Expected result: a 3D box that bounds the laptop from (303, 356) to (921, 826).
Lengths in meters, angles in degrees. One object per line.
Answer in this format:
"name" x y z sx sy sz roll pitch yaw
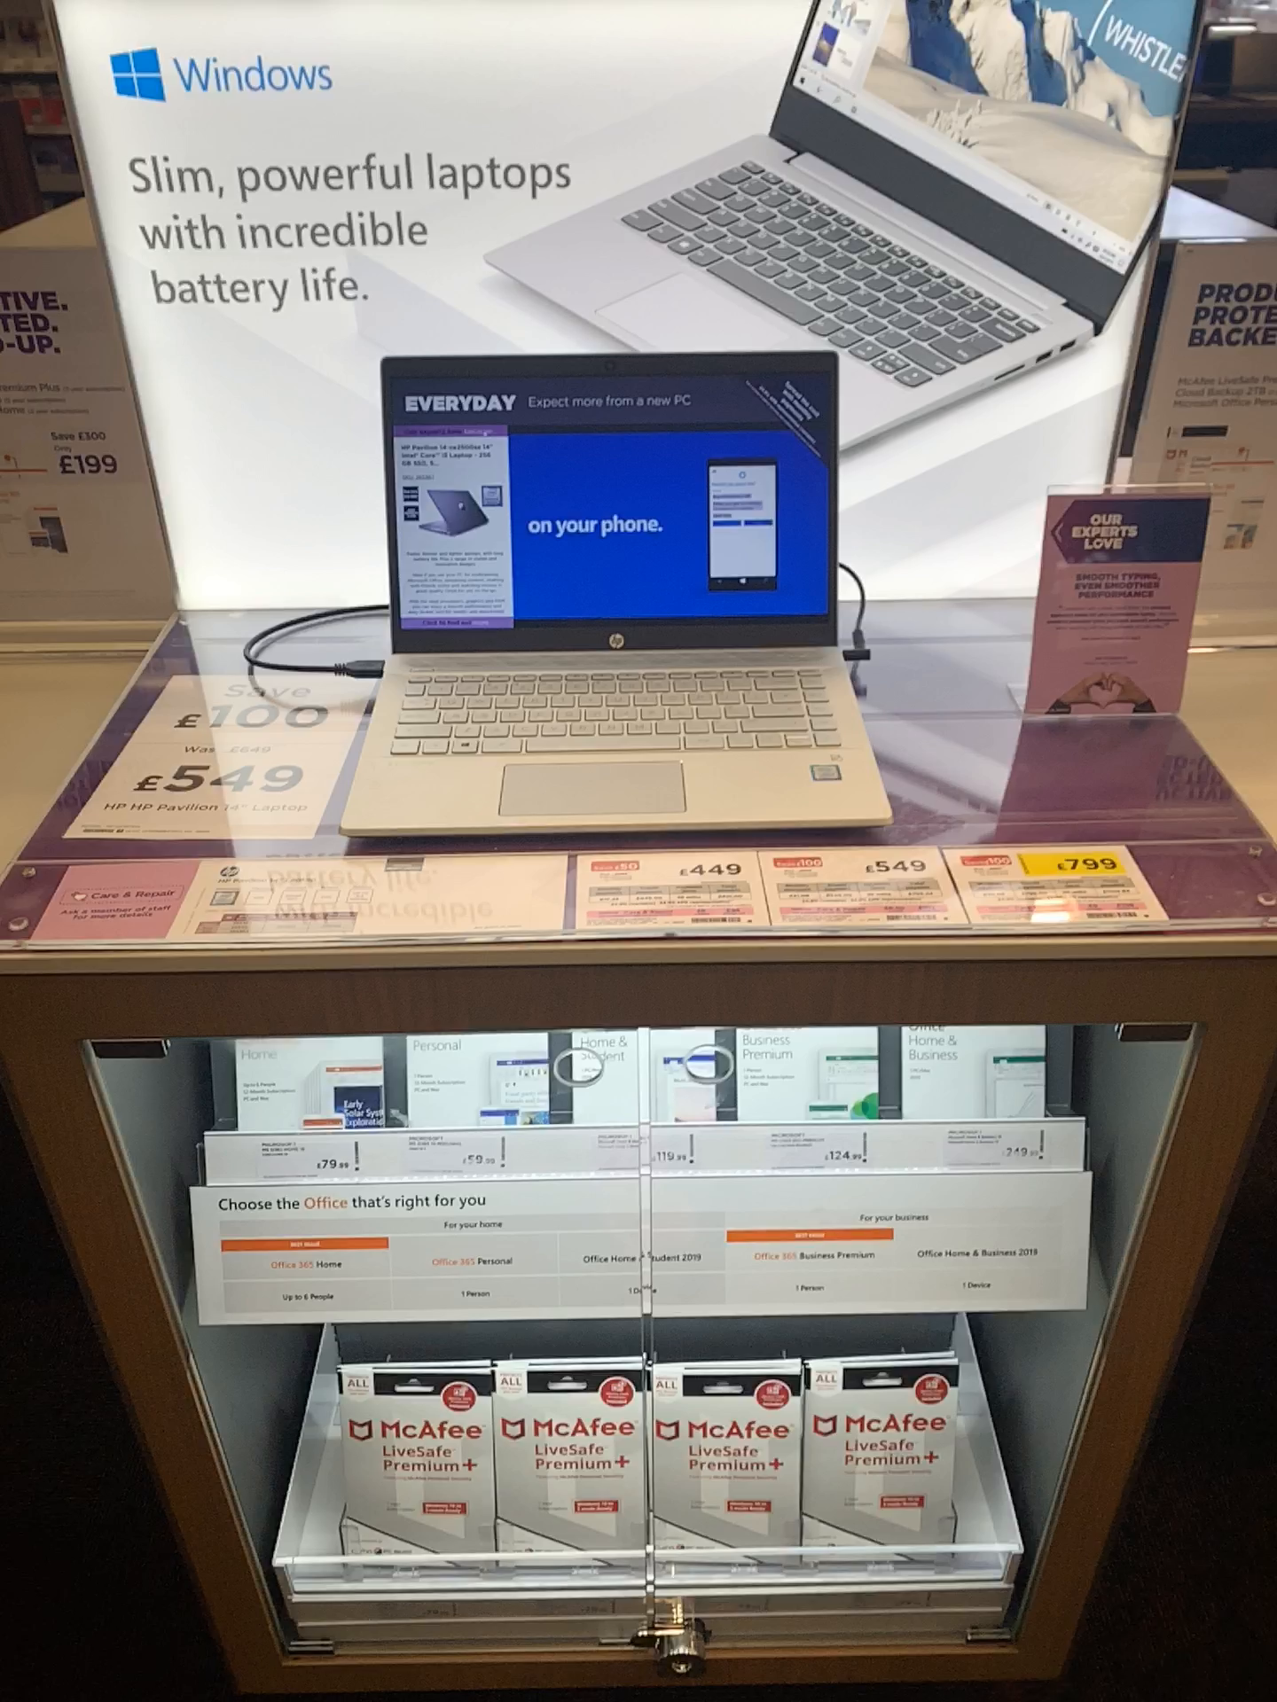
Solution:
"laptop" -0.016 -0.183 0.843 0.313 0.171 0.325 -1 35 -1
